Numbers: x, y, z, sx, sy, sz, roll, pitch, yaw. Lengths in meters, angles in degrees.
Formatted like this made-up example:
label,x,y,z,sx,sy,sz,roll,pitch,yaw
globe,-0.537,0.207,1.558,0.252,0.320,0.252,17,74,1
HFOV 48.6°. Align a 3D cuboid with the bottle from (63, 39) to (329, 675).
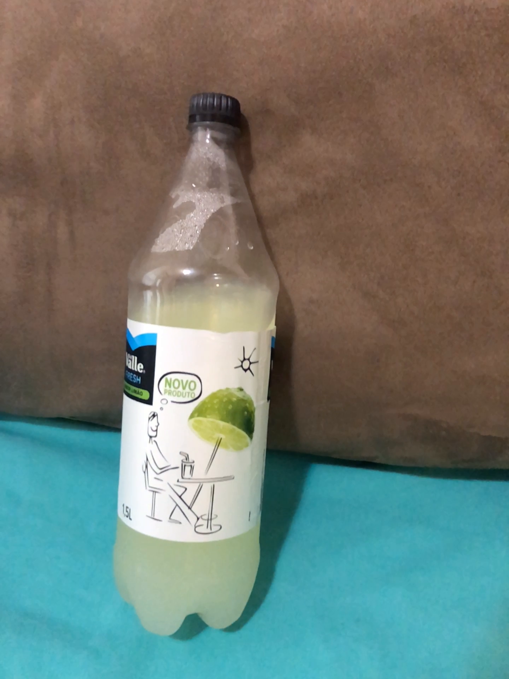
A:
label,x,y,z,sx,sy,sz,roll,pitch,yaw
bottle,-0.026,0.003,0.354,0.100,0.330,0.100,6,-4,0
